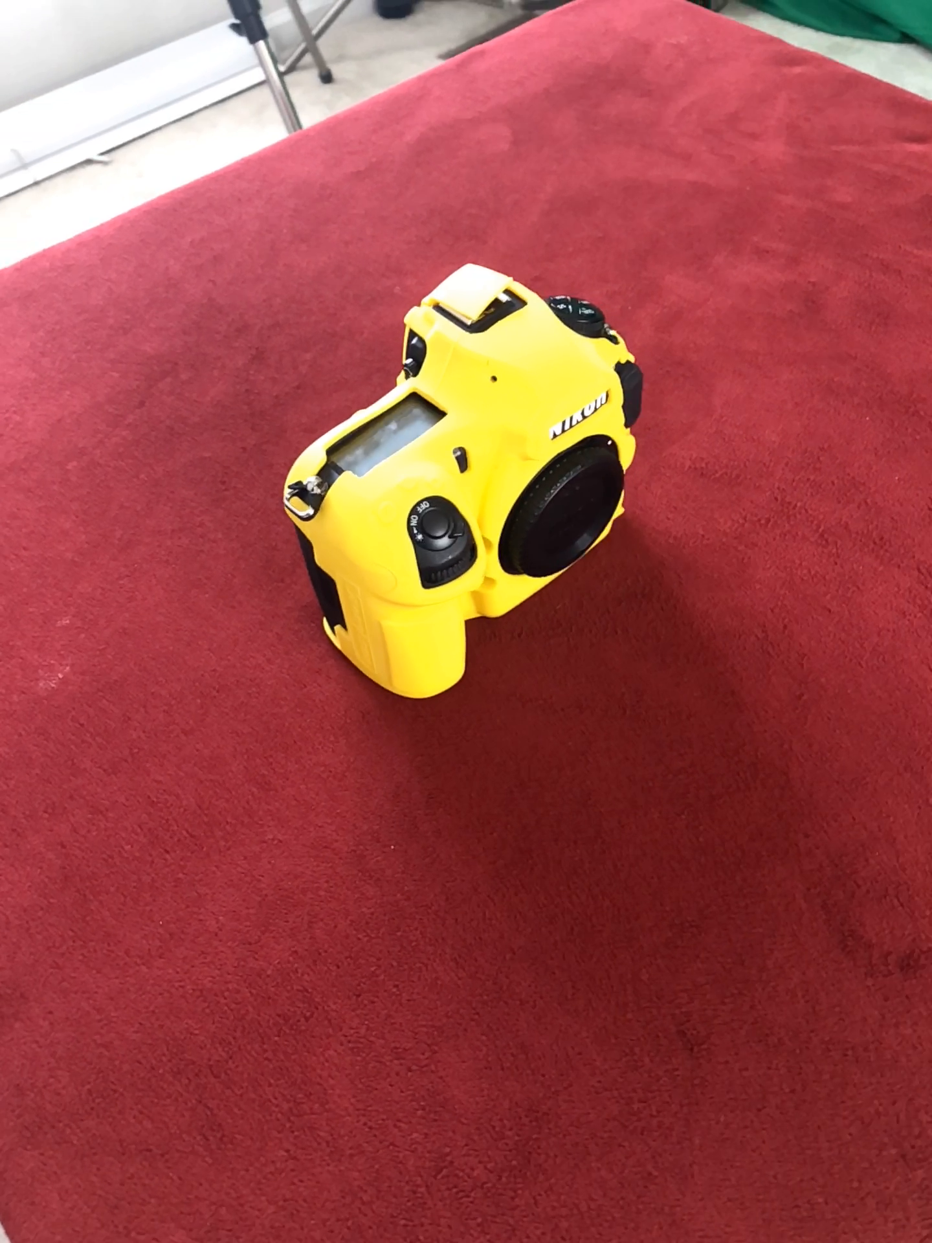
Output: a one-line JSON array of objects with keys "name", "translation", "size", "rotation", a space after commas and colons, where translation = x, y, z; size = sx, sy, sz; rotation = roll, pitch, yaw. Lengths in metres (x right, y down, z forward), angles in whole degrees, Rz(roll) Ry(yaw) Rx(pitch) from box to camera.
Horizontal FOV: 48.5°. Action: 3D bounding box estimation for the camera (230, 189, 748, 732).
[{"name": "camera", "translation": [0.013, -0.061, 0.392], "size": [0.160, 0.116, 0.082], "rotation": [-37, 60, -22]}]
